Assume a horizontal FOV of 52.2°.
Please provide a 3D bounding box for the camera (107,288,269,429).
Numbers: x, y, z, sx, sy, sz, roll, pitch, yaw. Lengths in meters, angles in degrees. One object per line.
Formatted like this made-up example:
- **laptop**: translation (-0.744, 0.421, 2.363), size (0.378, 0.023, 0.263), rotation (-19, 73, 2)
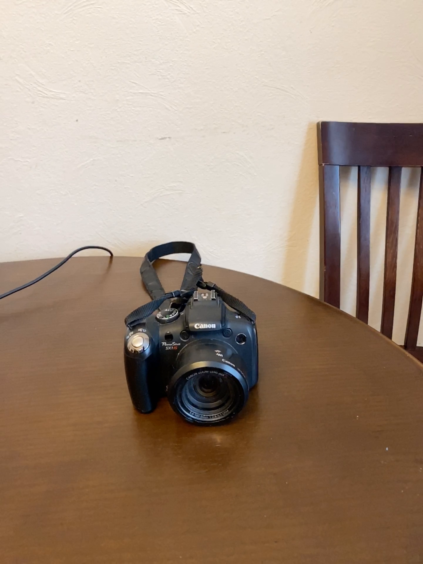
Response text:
- **camera**: translation (-0.017, 0.065, 0.381), size (0.123, 0.088, 0.082), rotation (-1, 25, 1)
